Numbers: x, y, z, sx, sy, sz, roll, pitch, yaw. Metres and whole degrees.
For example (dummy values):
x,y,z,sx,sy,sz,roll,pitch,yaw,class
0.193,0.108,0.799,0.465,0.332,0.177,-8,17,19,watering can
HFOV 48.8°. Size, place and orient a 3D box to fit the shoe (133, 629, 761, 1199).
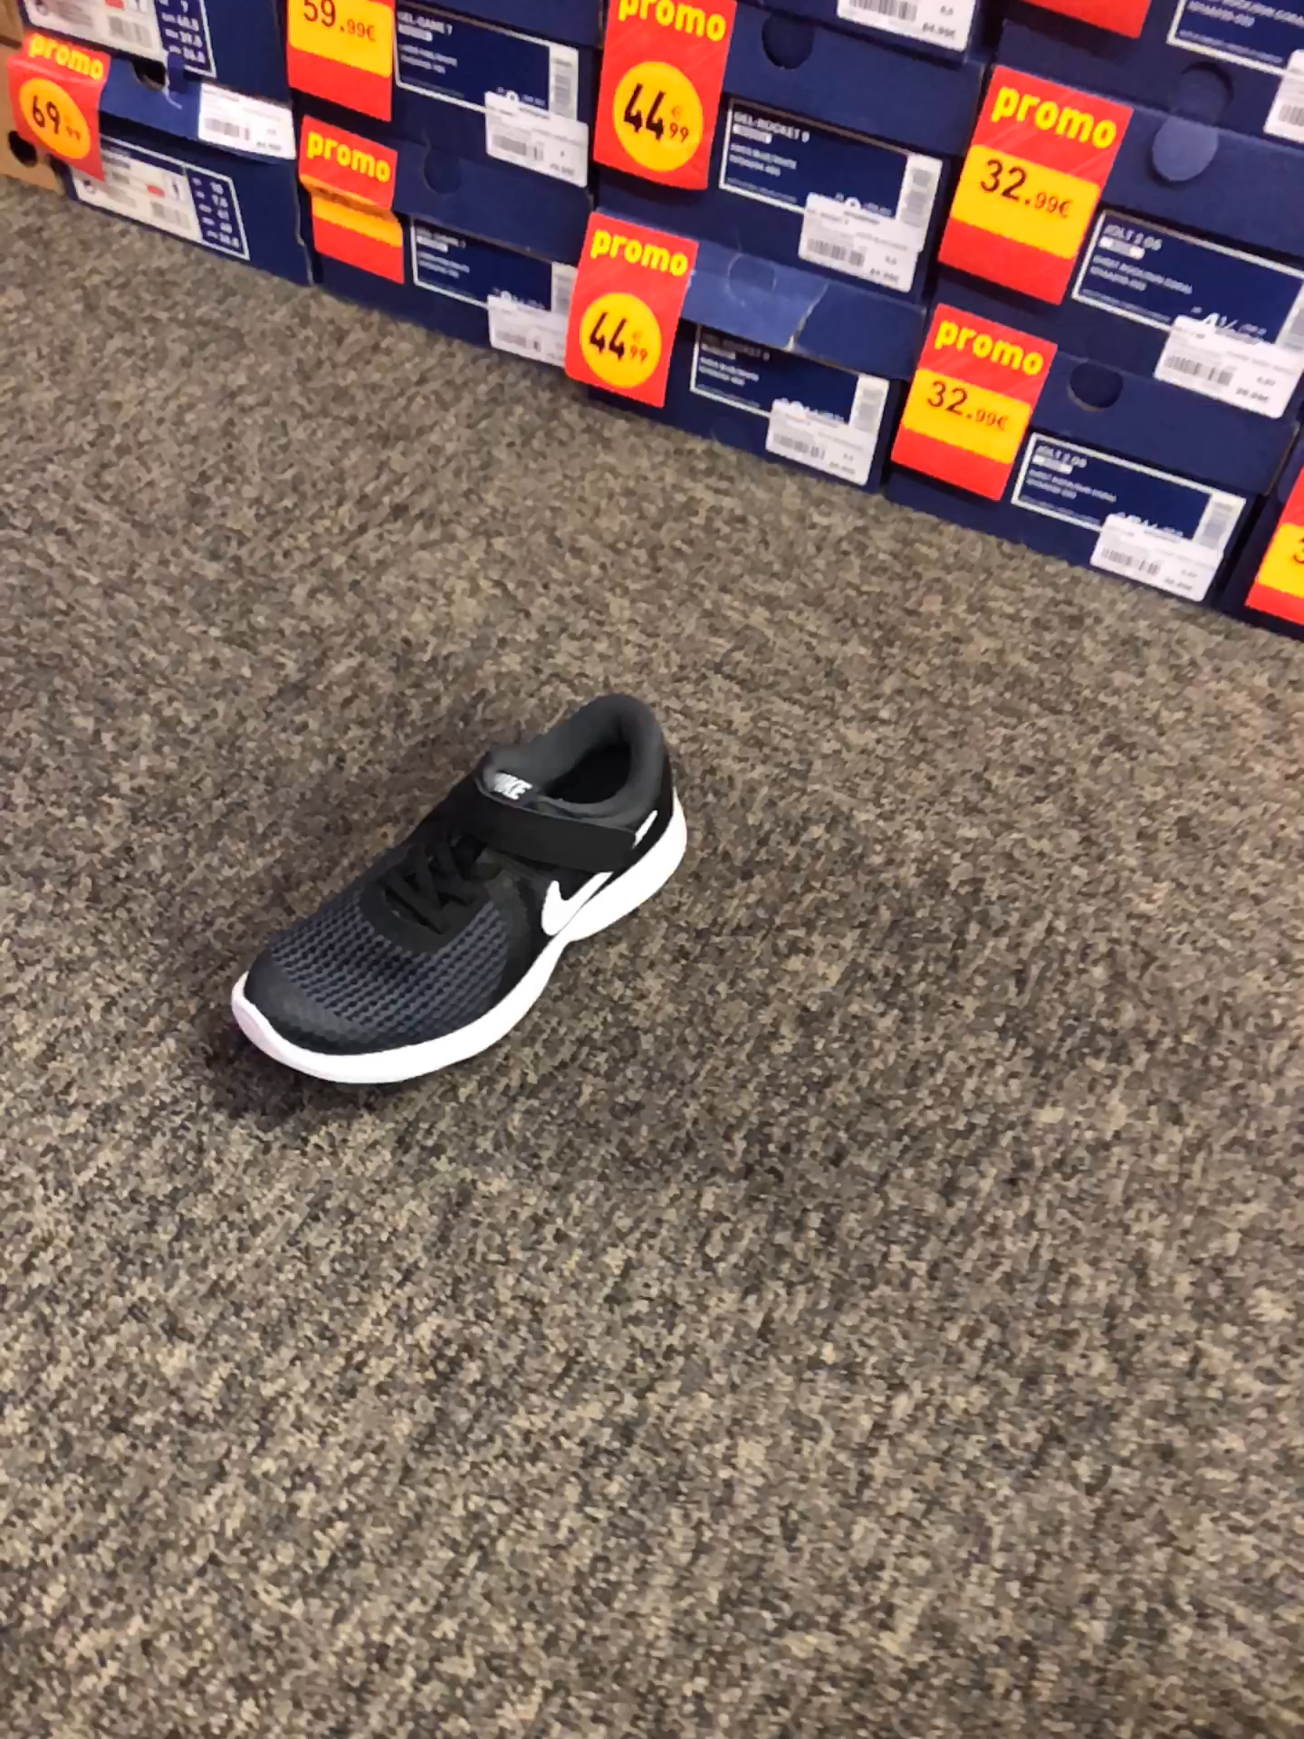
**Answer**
x,y,z,sx,sy,sz,roll,pitch,yaw,class
-0.069,0.008,0.547,0.090,0.080,0.218,38,56,24,shoe
